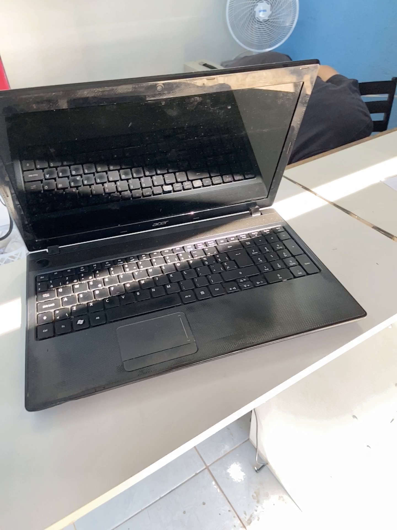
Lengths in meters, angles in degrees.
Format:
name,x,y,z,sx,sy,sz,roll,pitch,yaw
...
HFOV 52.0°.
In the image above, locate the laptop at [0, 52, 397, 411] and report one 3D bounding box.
name,x,y,z,sx,sy,sz,roll,pitch,yaw
laptop,-0.030,-0.065,0.452,0.374,0.234,0.255,-12,40,-13
